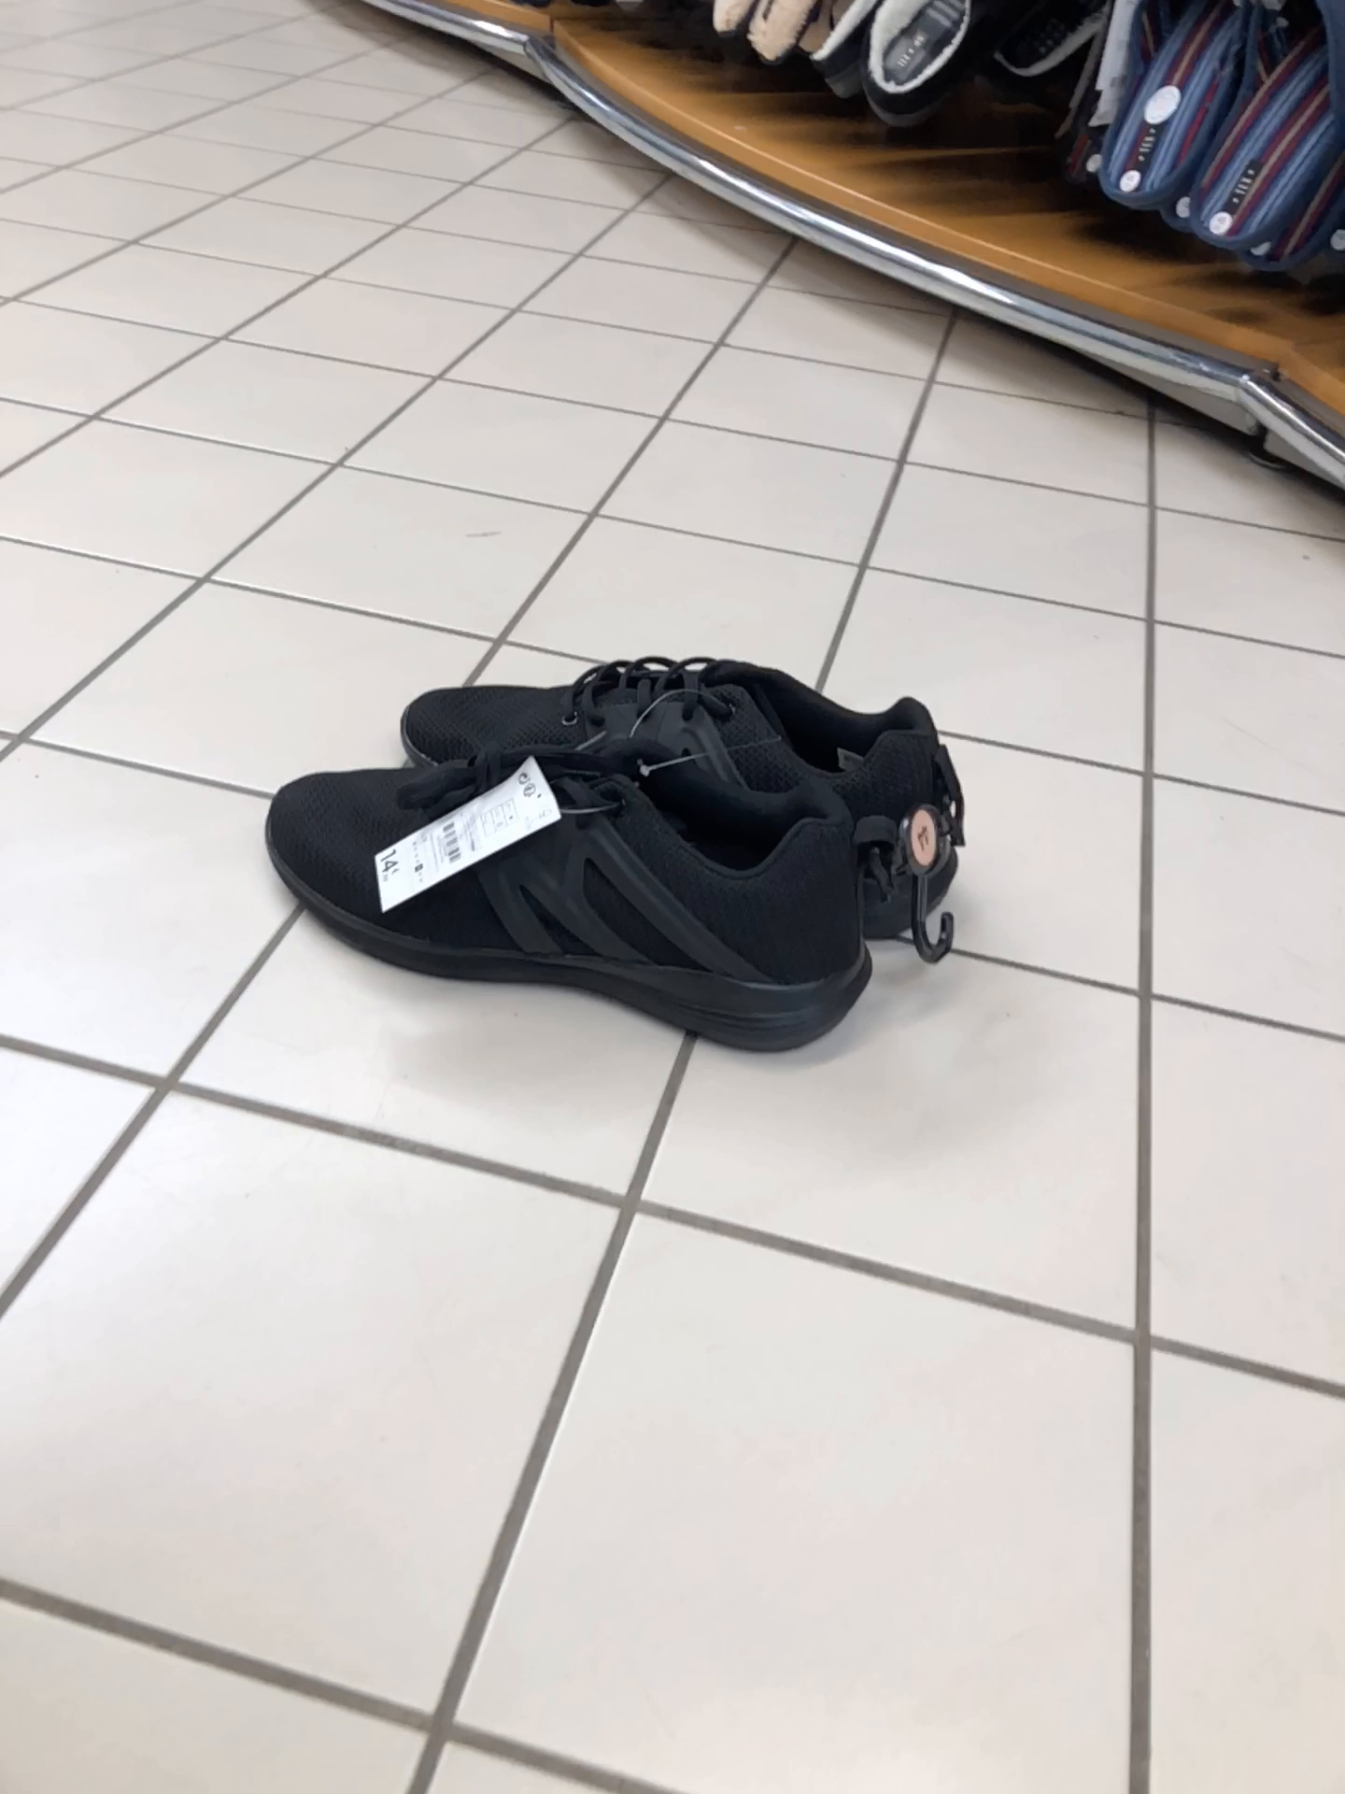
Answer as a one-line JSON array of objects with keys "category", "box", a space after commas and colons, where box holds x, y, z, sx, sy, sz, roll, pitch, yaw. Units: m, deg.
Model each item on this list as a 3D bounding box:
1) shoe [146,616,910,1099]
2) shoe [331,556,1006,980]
[{"category": "shoe", "box": [-0.064, -0.023, 0.664, 0.310, 0.109, 0.101, 14, 39, 11]}, {"category": "shoe", "box": [-0.004, -0.070, 0.743, 0.310, 0.109, 0.101, 14, 39, 11]}]
